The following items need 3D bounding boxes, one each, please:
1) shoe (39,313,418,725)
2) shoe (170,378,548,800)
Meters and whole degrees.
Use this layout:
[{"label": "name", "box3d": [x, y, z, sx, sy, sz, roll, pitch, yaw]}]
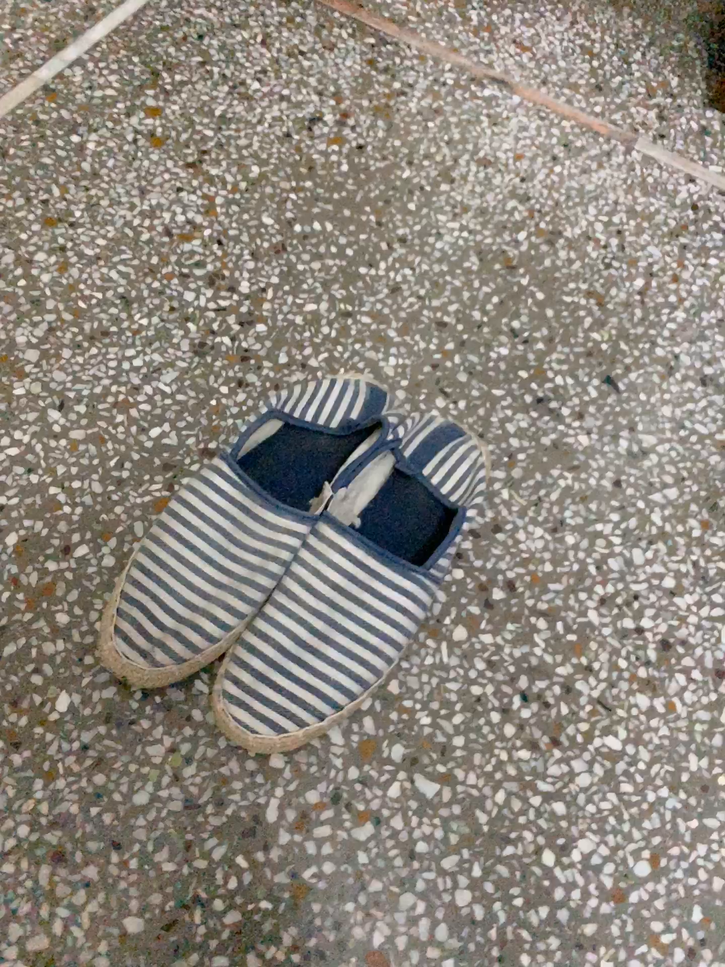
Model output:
[{"label": "shoe", "box3d": [-0.080, 0.012, 0.523, 0.100, 0.050, 0.289, 31, 65, 9]}, {"label": "shoe", "box3d": [0.008, 0.060, 0.515, 0.100, 0.050, 0.289, 36, 66, 11]}]
